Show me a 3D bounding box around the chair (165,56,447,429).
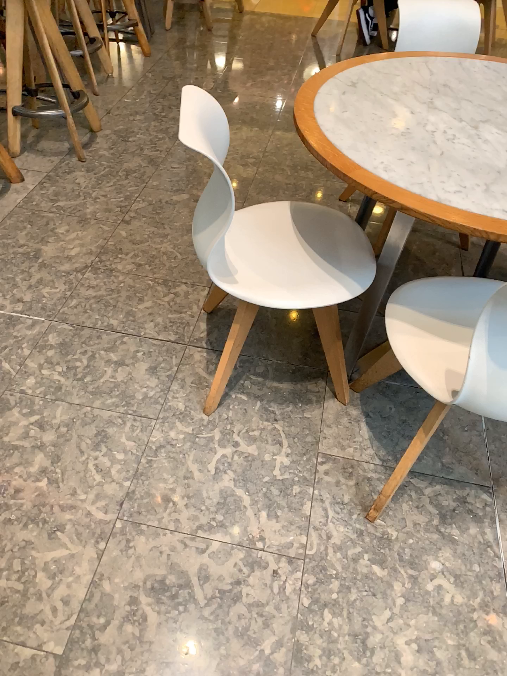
[{"bbox_3d":[0.067,-0.221,1.475,0.540,0.911,0.505,-1,46,-5],"label":"chair"}]
